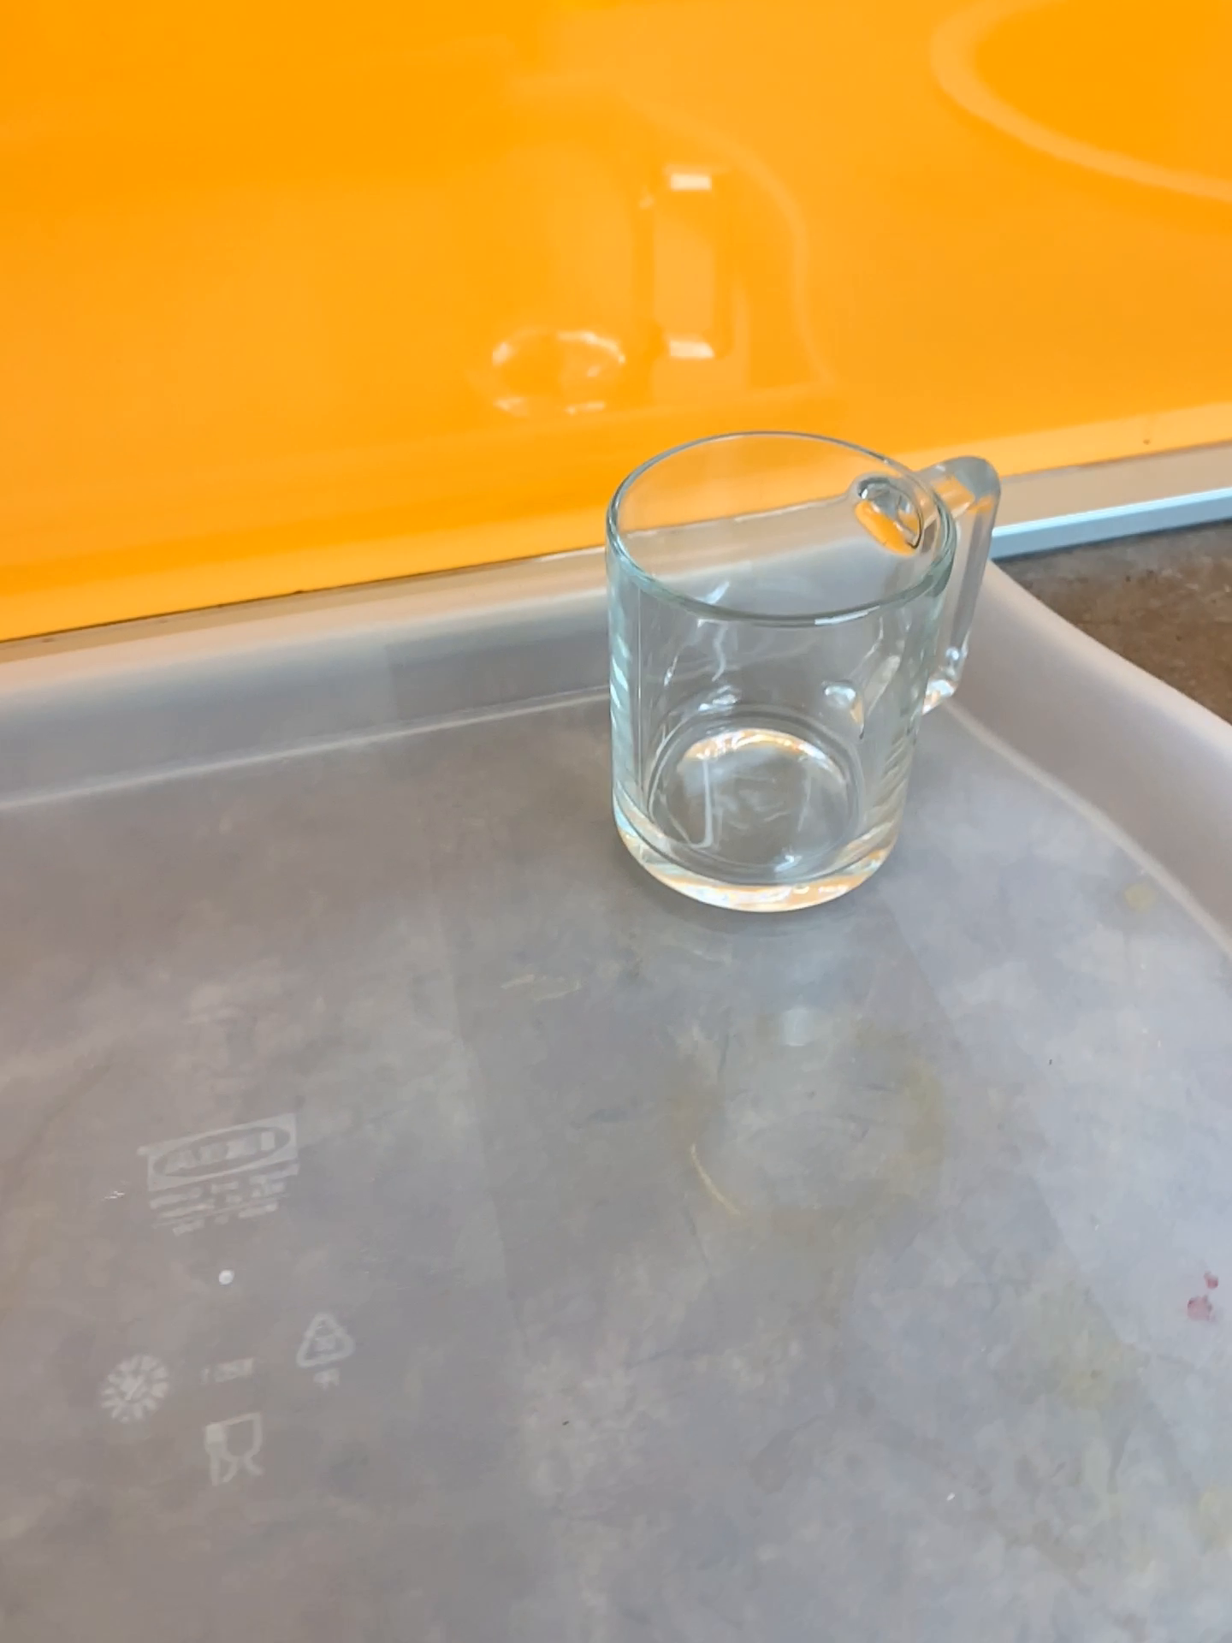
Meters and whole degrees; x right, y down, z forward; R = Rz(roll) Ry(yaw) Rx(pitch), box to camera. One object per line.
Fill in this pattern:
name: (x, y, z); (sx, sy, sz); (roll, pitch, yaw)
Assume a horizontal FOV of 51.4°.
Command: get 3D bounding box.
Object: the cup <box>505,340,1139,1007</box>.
cup: (0.043, -0.038, 0.312); (0.109, 0.104, 0.081); (-25, 52, -23)
